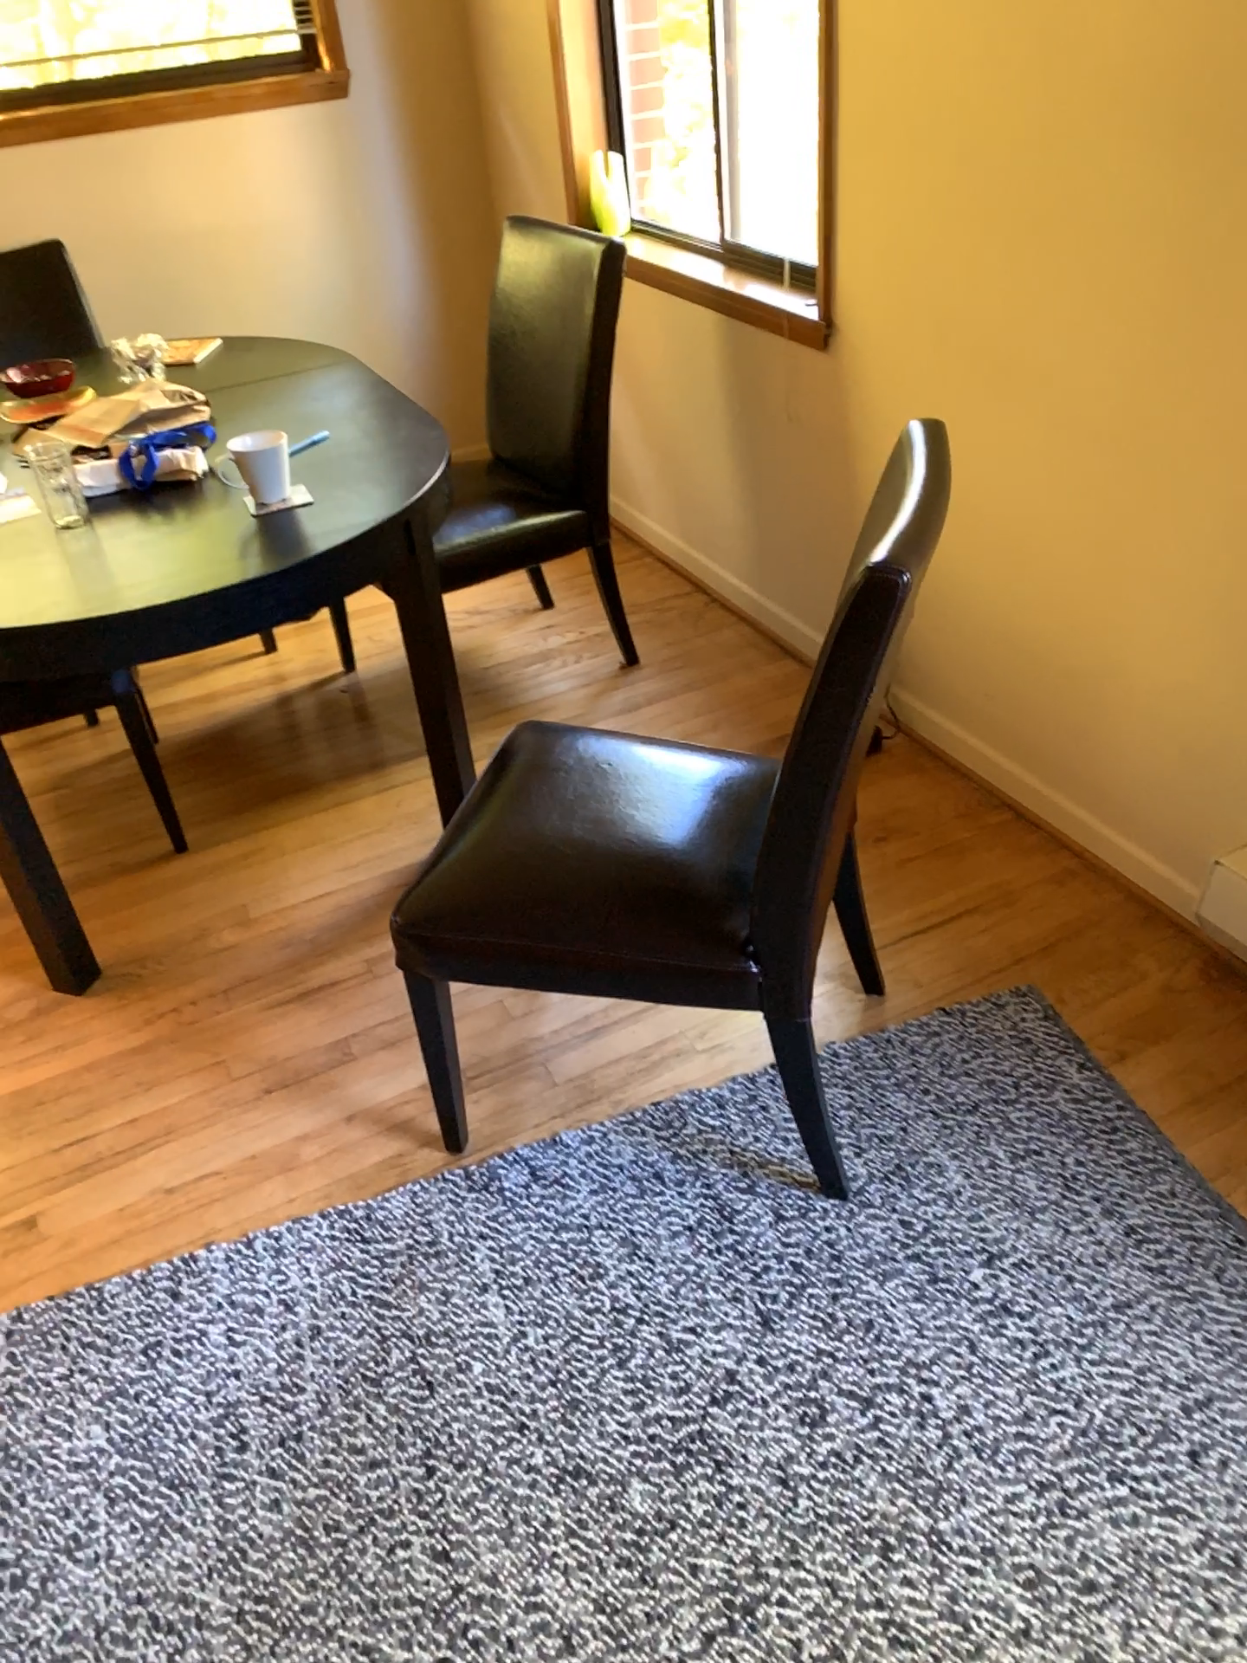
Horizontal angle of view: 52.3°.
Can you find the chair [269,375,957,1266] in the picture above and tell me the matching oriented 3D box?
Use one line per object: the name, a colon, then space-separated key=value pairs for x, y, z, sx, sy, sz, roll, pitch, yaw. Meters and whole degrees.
chair: x=0.069 y=-0.013 z=1.753 sx=0.671 sy=1.034 sz=0.563 roll=5 pitch=37 yaw=15
